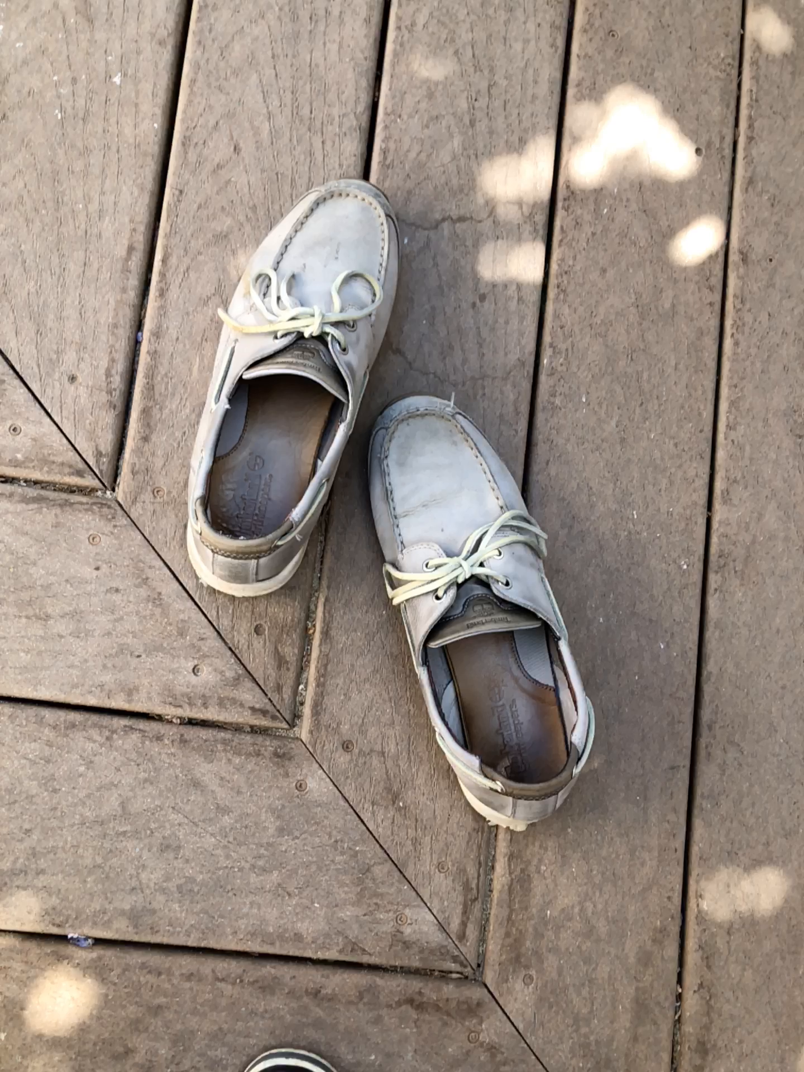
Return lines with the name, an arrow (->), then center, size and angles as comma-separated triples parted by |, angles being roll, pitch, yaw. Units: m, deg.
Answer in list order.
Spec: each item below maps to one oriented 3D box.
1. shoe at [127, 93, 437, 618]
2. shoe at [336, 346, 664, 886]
shoe -> -0.075, -0.114, 0.597 | 0.116, 0.099, 0.314 | 14, 80, -6
shoe -> 0.055, 0.049, 0.596 | 0.120, 0.109, 0.310 | -14, 84, -9
